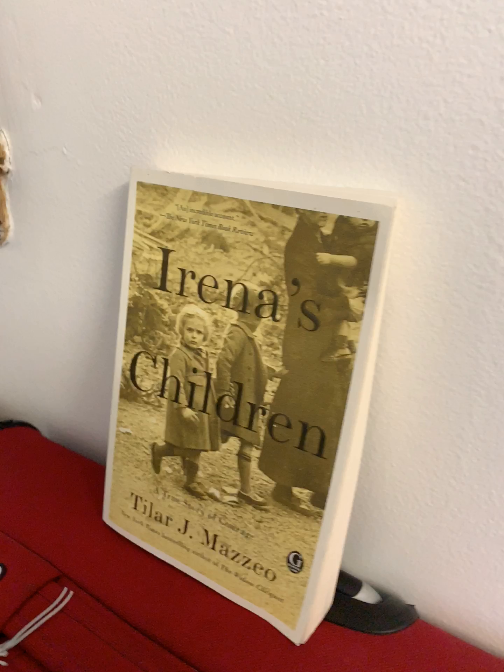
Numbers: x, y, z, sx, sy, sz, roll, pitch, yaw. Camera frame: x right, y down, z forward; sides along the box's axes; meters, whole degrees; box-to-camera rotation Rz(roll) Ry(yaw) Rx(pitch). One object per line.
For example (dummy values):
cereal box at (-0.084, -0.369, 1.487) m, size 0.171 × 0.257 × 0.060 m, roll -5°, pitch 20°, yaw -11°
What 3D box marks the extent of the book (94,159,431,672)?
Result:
book at (-0.014, 0.031, 0.282) m, size 0.170 × 0.229 × 0.030 m, roll 15°, pitch 17°, yaw 31°
